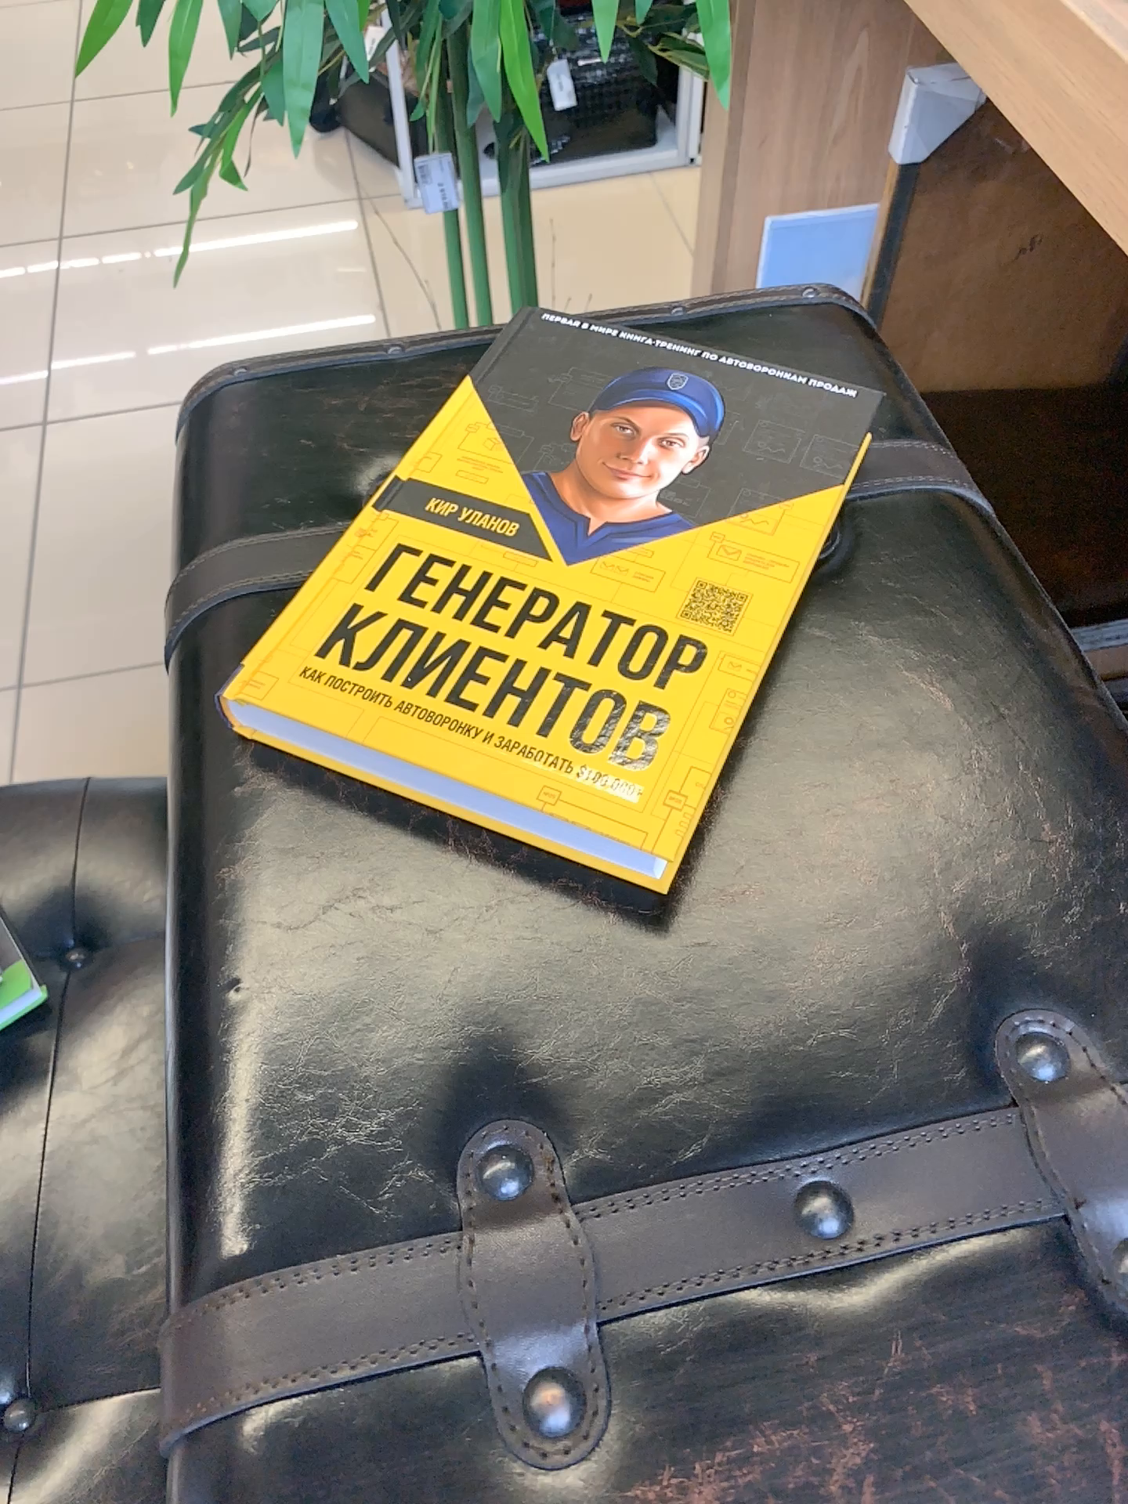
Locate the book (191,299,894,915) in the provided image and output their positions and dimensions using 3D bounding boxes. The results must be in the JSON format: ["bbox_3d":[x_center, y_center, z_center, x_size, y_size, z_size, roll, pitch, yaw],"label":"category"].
[{"bbox_3d":[0.006,-0.074,0.431,0.167,0.030,0.243,19,56,16],"label":"book"}]
